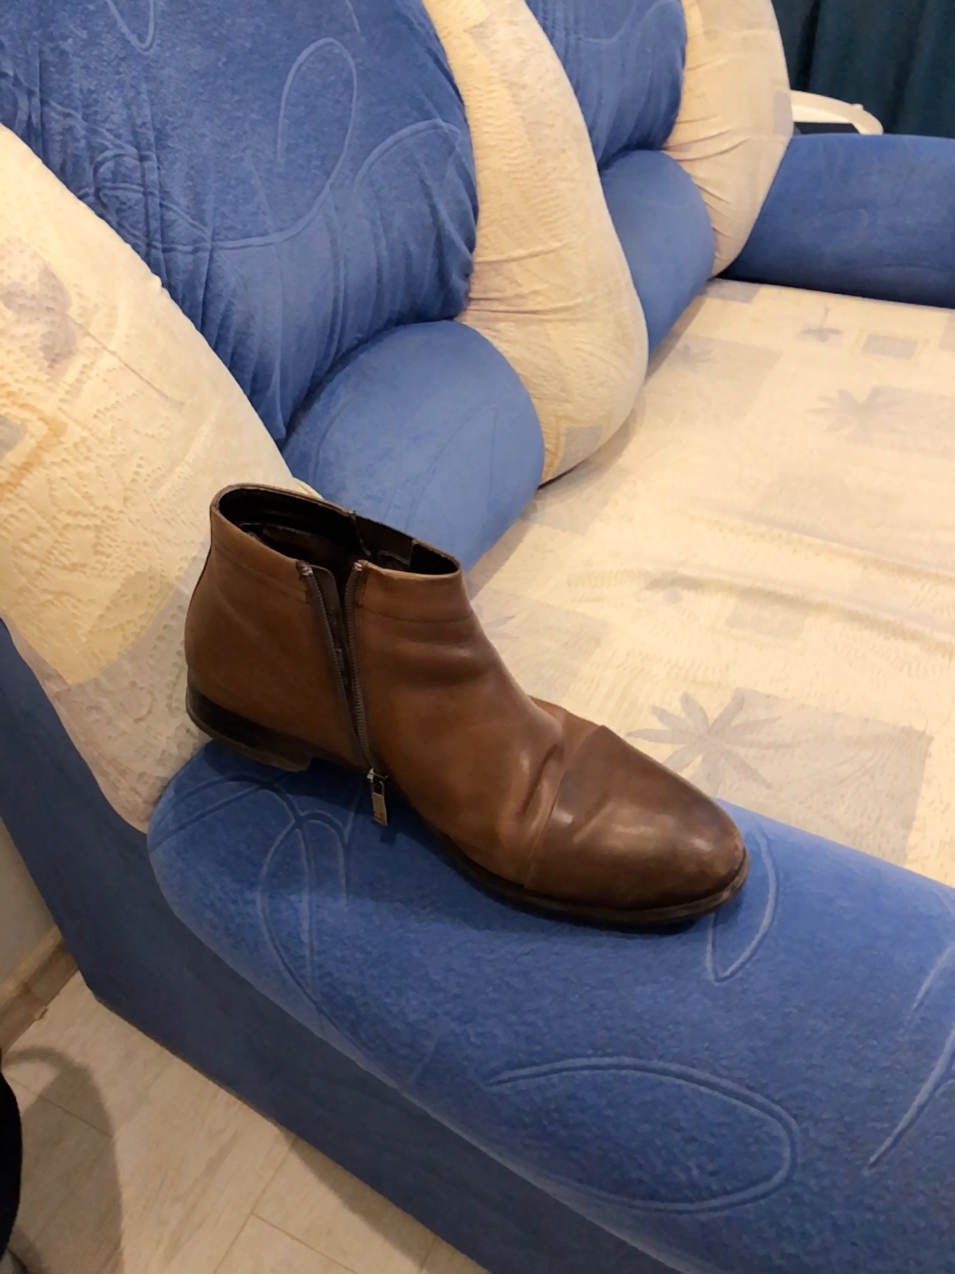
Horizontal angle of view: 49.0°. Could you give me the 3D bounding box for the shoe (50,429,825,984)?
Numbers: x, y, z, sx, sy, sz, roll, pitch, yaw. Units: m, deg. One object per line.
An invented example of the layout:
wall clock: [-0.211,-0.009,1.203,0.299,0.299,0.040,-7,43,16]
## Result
shoe: [-0.020,0.021,0.487,0.310,0.139,0.111,16,43,19]
